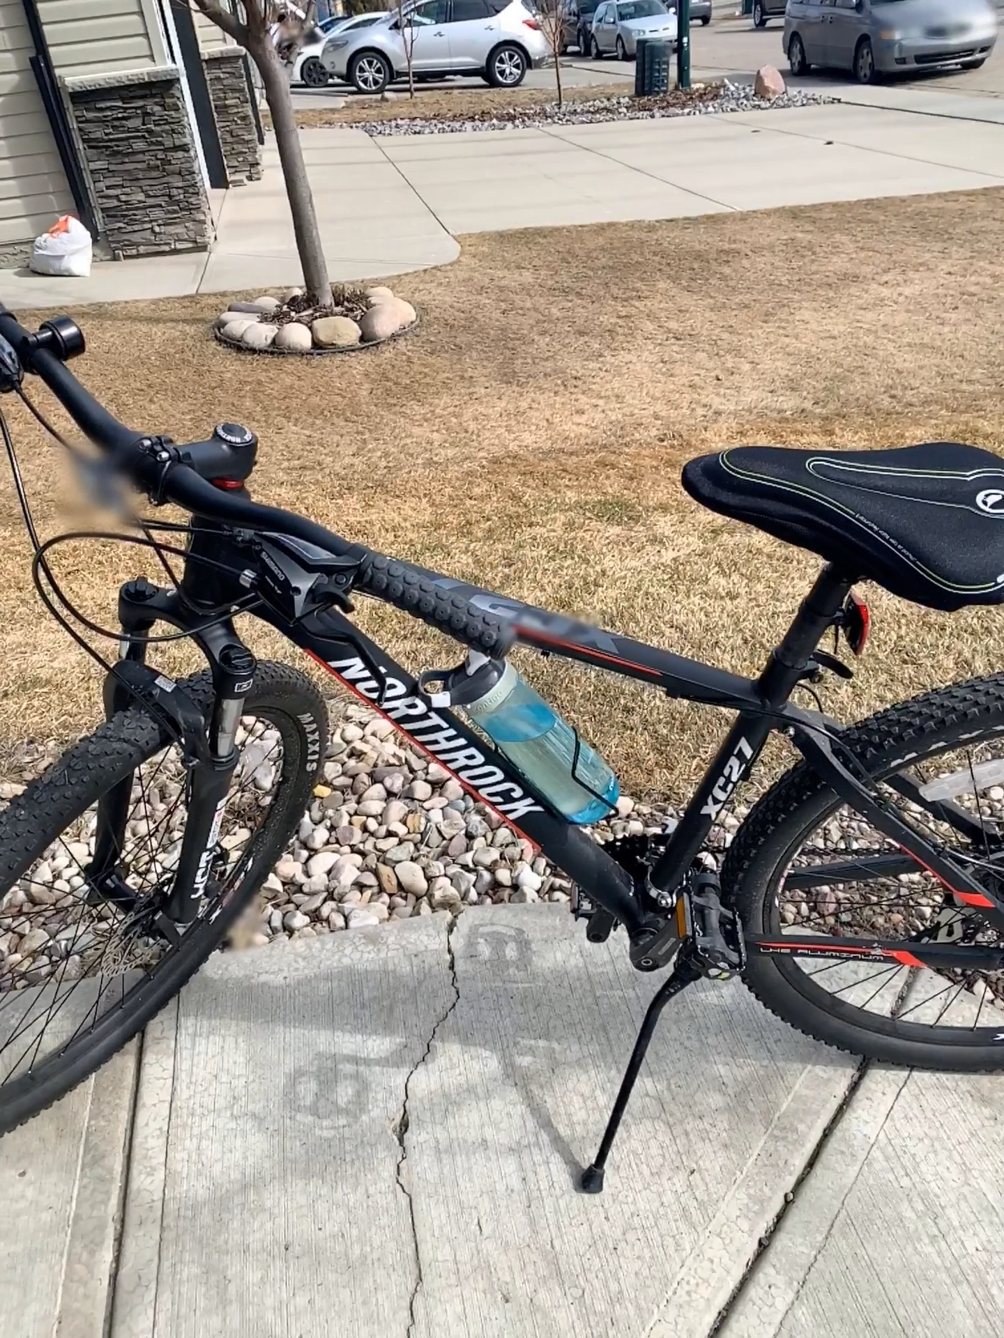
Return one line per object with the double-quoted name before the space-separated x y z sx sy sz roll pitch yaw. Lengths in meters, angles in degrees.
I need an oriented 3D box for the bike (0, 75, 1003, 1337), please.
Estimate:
"bike" 0.076 0.180 0.959 1.478 1.004 0.603 -7 32 4
